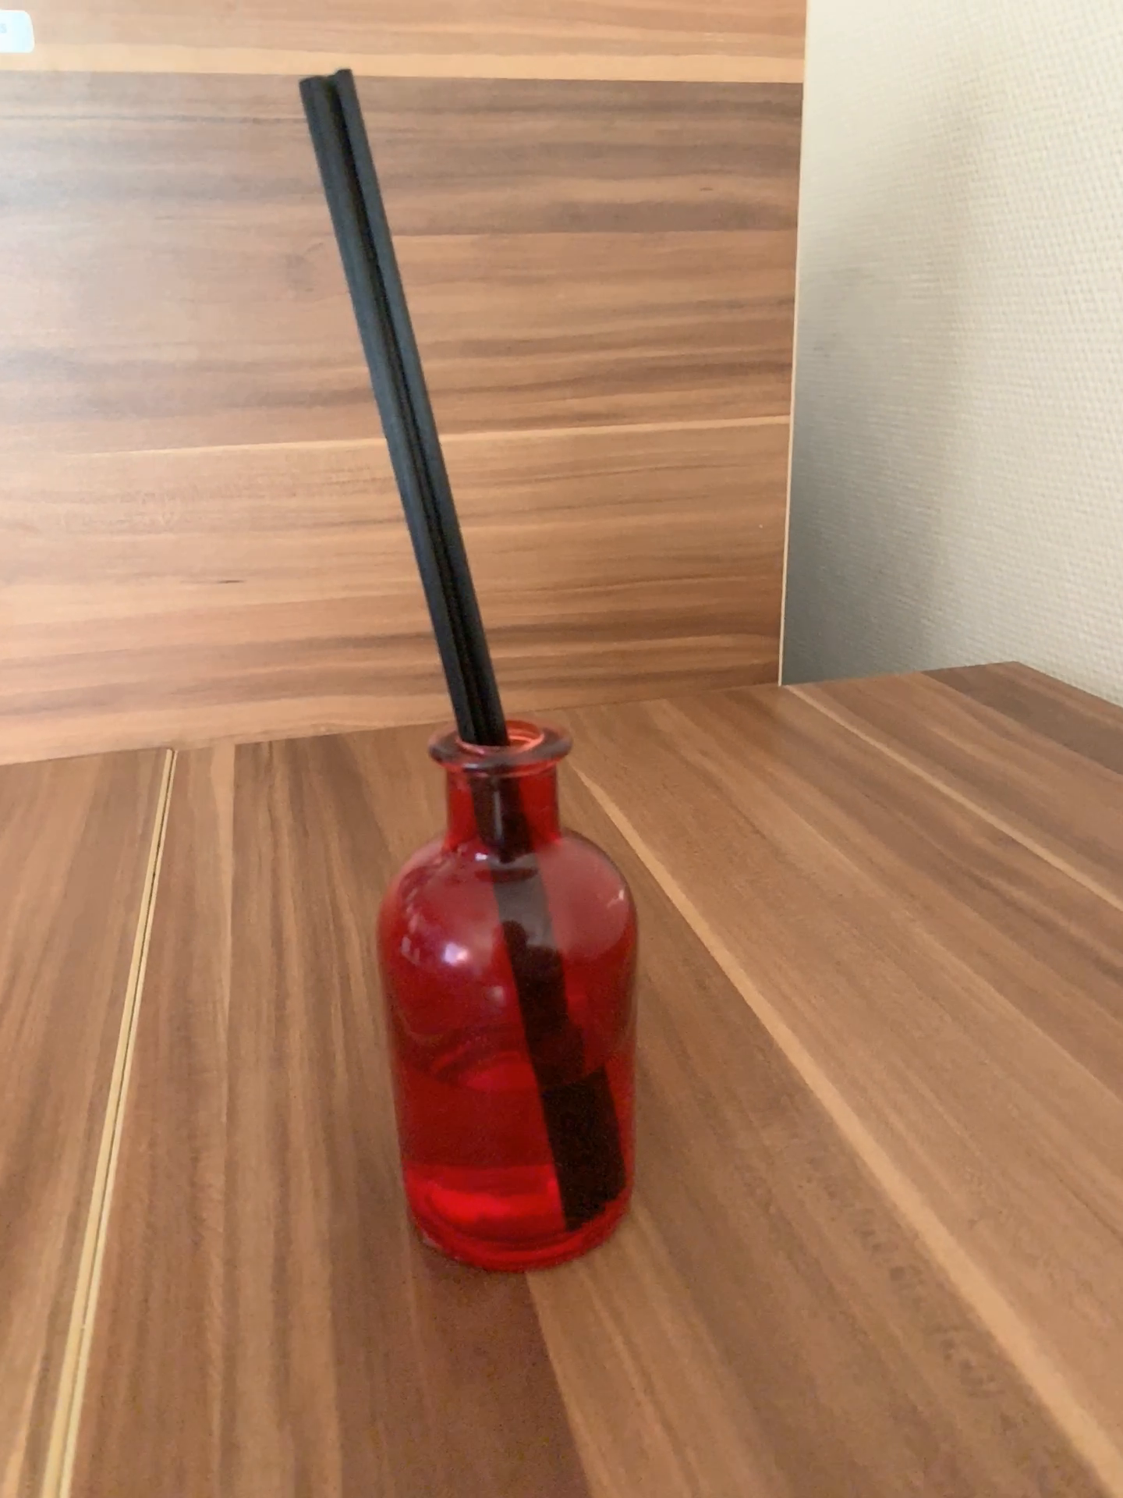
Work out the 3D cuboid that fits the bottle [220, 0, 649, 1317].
[{"bbox_3d":[-0.018,-0.005,0.227,0.060,0.239,0.050,-5,20,-8],"label":"bottle"}]
